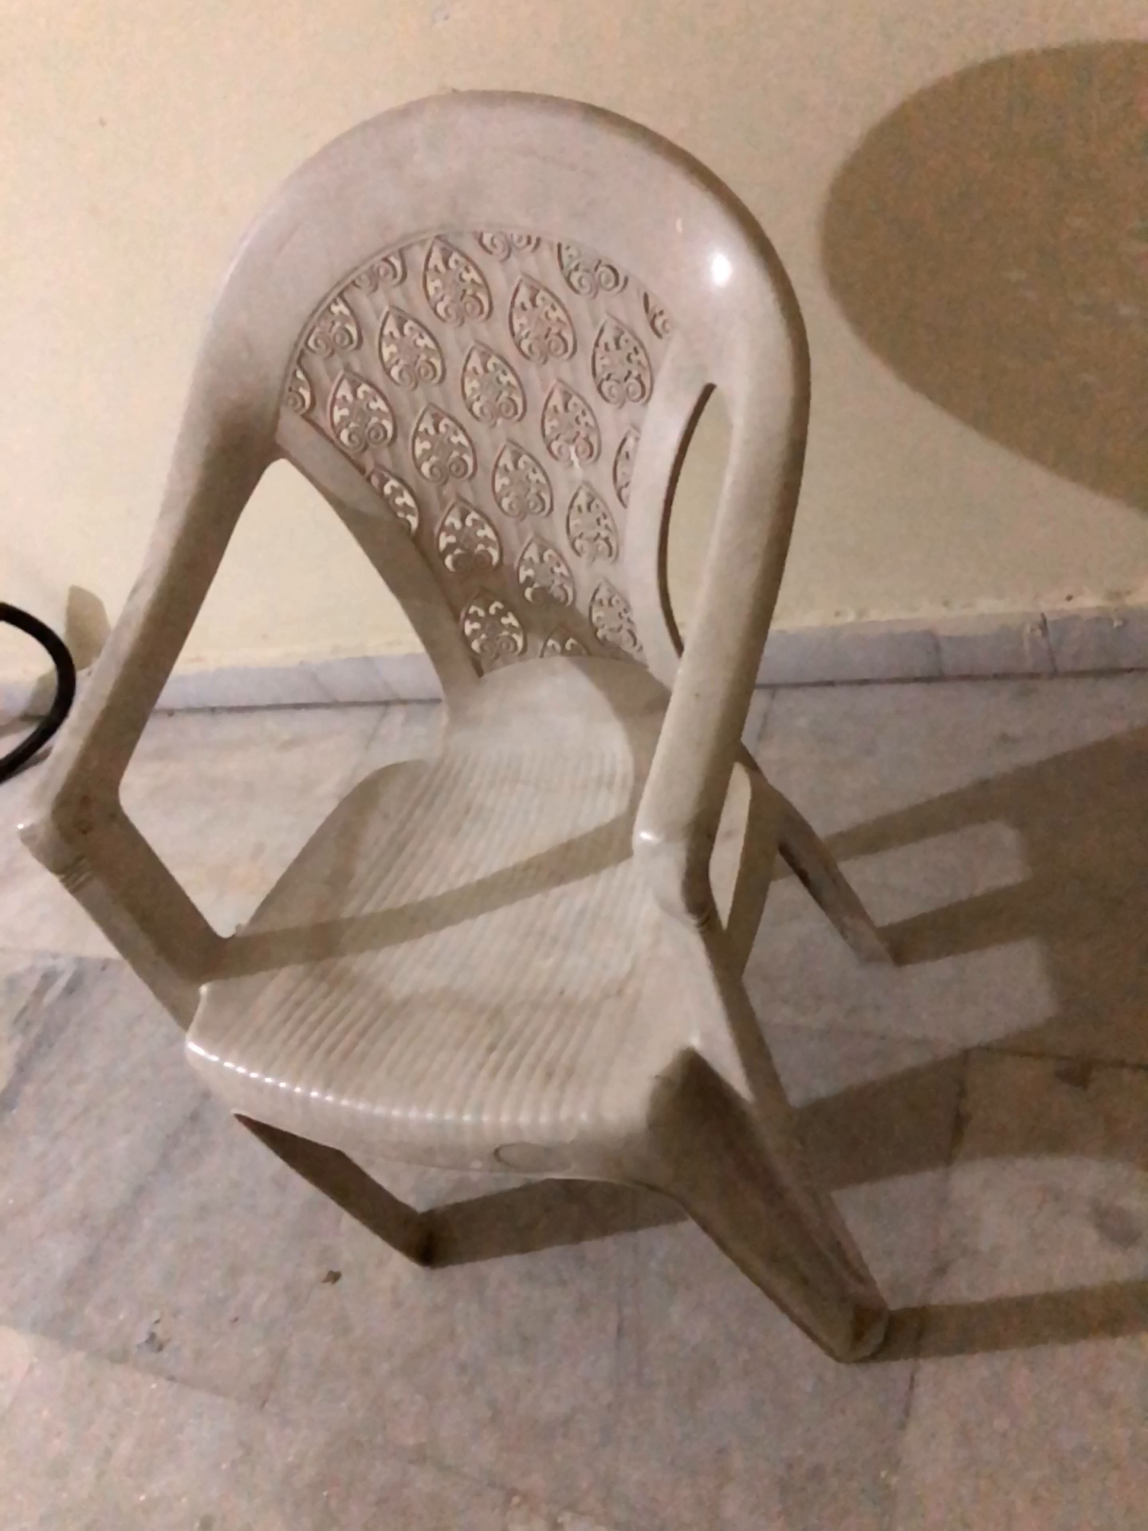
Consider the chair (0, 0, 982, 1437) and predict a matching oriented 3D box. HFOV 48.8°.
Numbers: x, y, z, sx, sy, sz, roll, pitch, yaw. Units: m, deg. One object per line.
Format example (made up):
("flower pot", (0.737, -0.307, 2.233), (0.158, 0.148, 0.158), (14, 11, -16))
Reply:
("chair", (-0.087, 0.042, 0.937), (0.530, 0.836, 0.512), (0, 52, 31))
